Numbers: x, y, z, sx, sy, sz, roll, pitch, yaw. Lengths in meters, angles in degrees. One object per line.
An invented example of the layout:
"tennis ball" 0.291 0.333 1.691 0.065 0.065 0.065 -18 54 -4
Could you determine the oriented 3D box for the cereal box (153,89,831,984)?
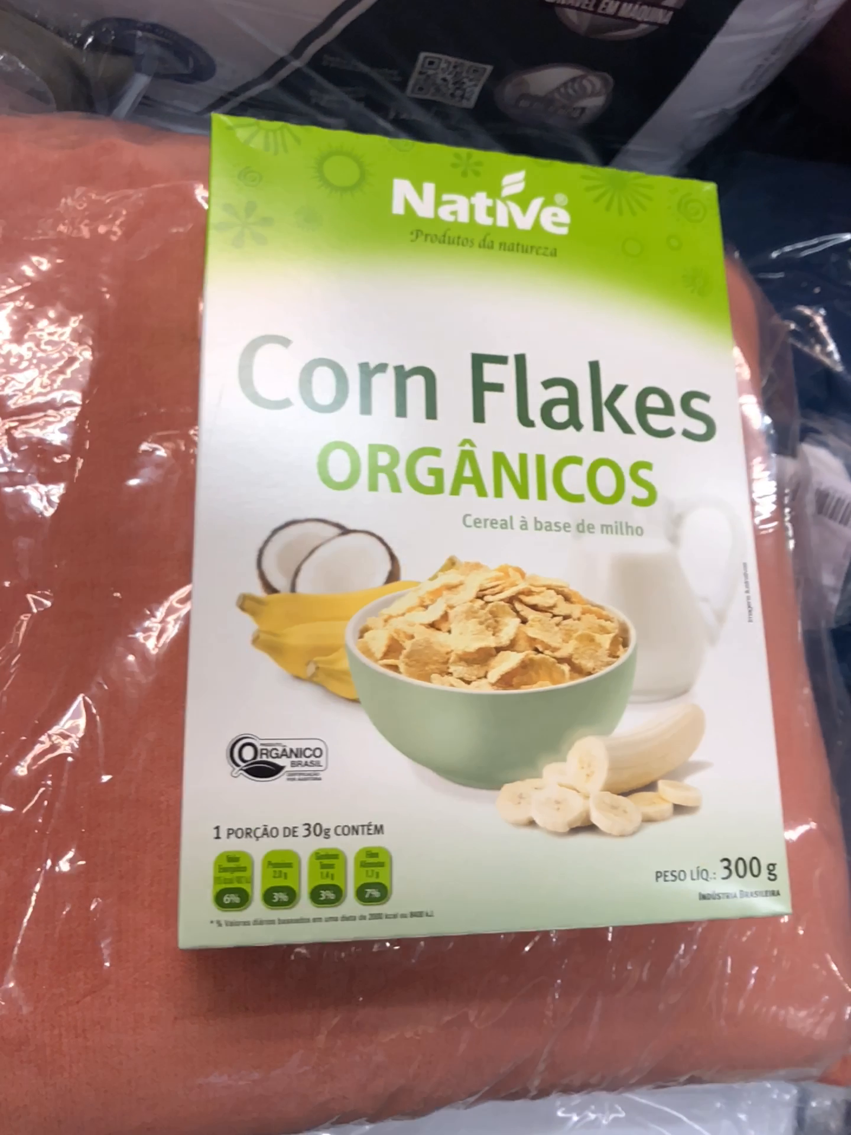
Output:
"cereal box" 0.015 -0.011 0.297 0.180 0.060 0.240 3 75 -15
